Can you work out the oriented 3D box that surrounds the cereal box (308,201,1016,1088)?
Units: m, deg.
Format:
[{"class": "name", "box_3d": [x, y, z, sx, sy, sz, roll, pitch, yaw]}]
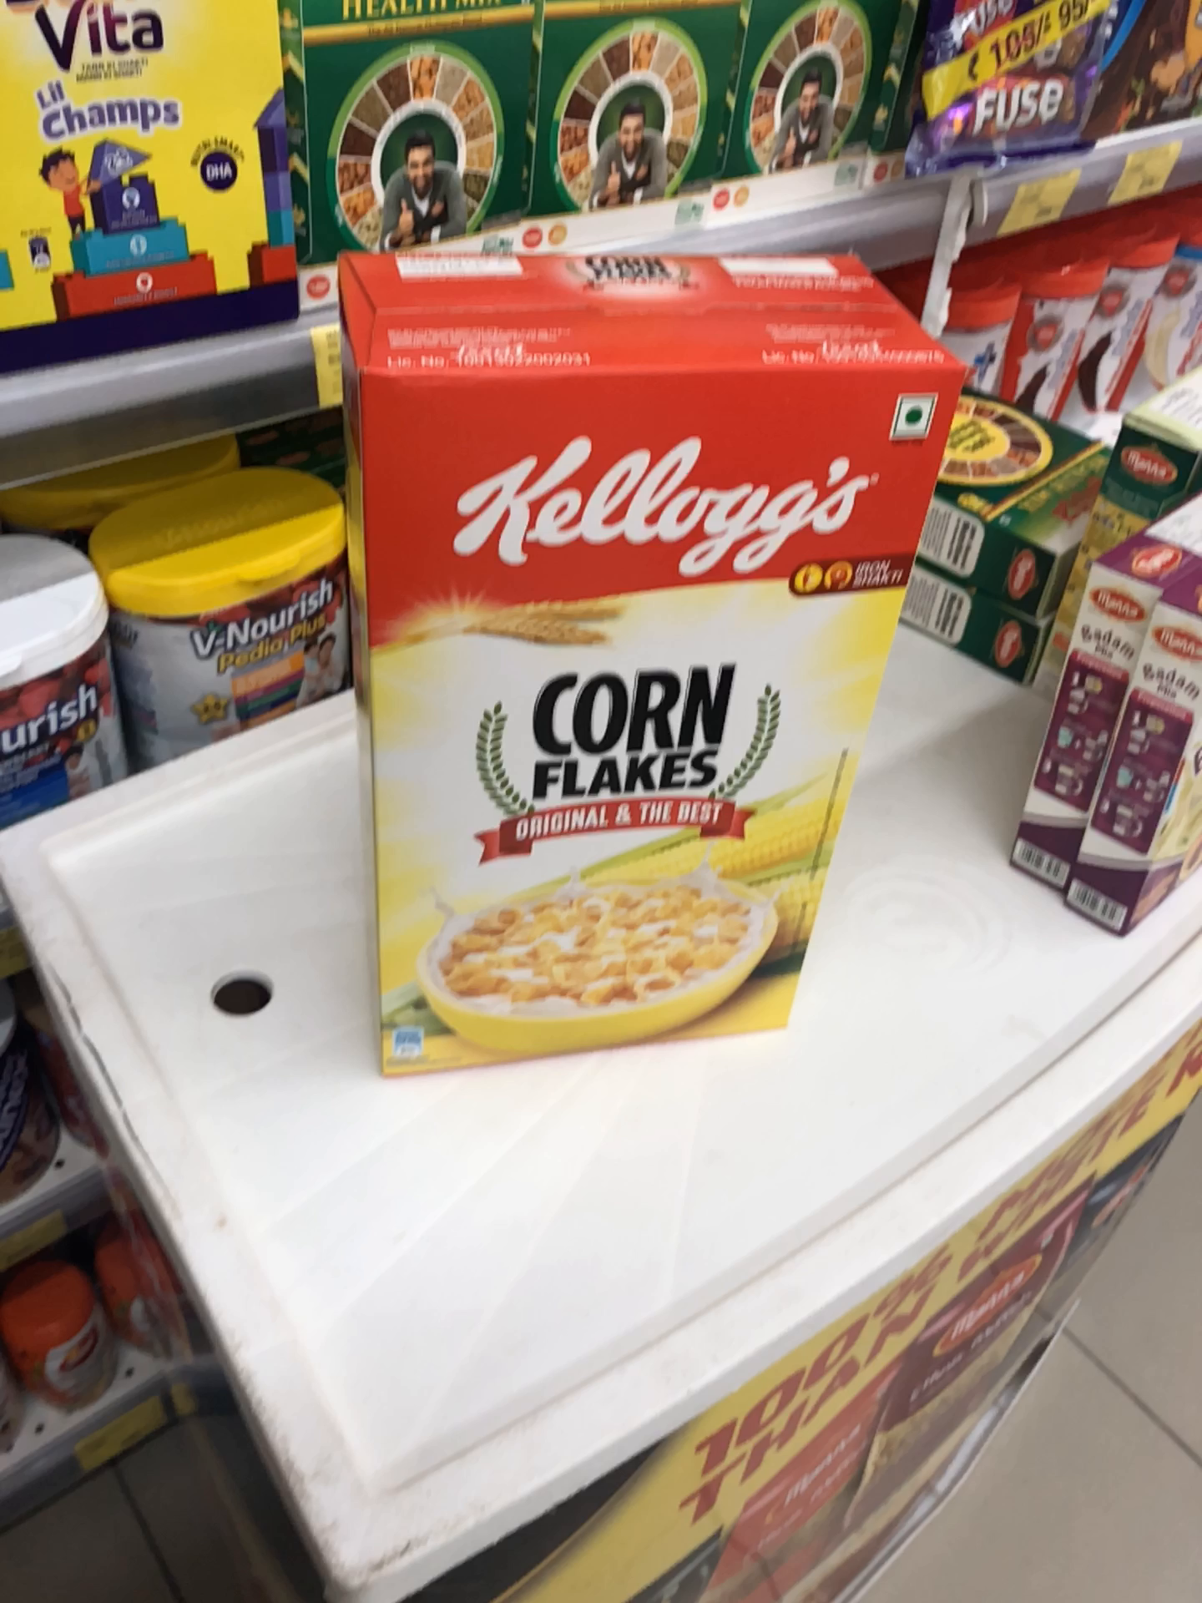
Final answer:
[{"class": "cereal box", "box_3d": [0.002, -0.044, 0.521, 0.200, 0.329, 0.110, -4, 43, -11]}]
